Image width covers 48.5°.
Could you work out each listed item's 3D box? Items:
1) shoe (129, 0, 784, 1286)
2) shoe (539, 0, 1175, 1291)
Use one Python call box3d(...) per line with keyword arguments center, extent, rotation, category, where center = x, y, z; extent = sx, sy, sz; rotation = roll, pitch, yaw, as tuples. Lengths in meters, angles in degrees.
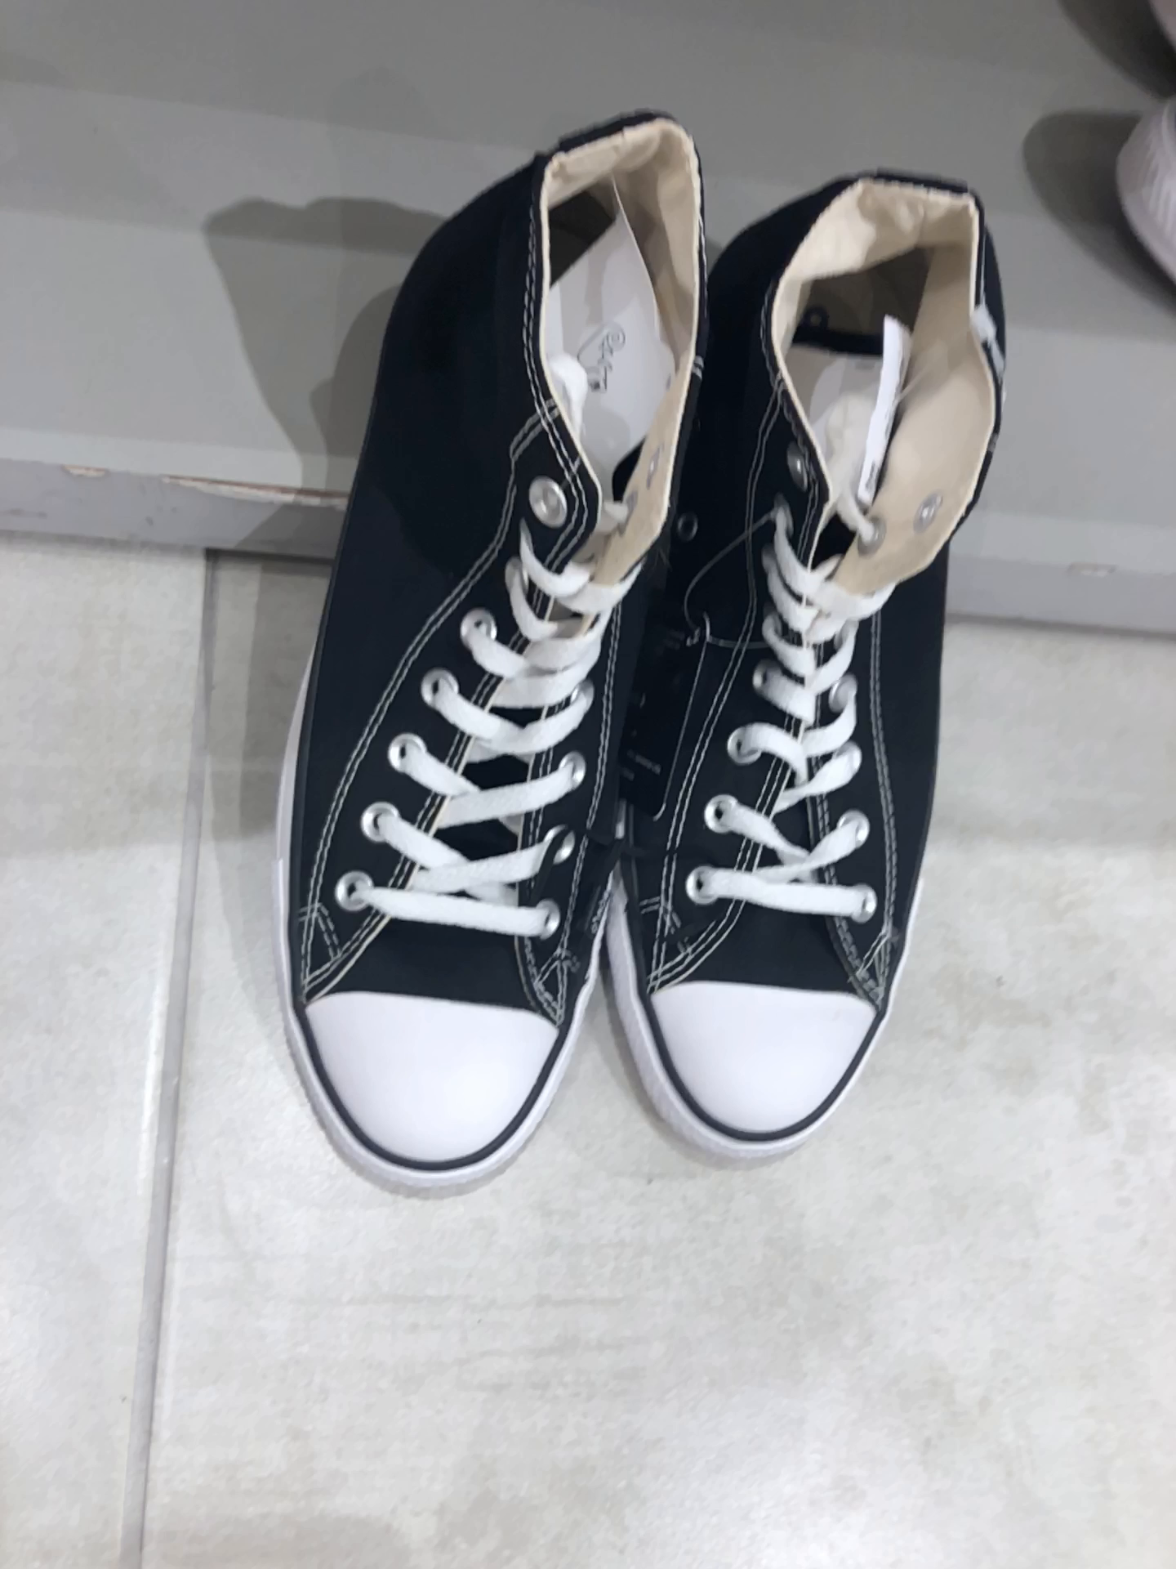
box3d(center=(-0.041, -0.040, 0.378), extent=(0.120, 0.140, 0.310), rotation=(6, 94, -9), category="shoe")
box3d(center=(0.067, -0.044, 0.383), extent=(0.120, 0.140, 0.330), rotation=(4, 94, -10), category="shoe")
